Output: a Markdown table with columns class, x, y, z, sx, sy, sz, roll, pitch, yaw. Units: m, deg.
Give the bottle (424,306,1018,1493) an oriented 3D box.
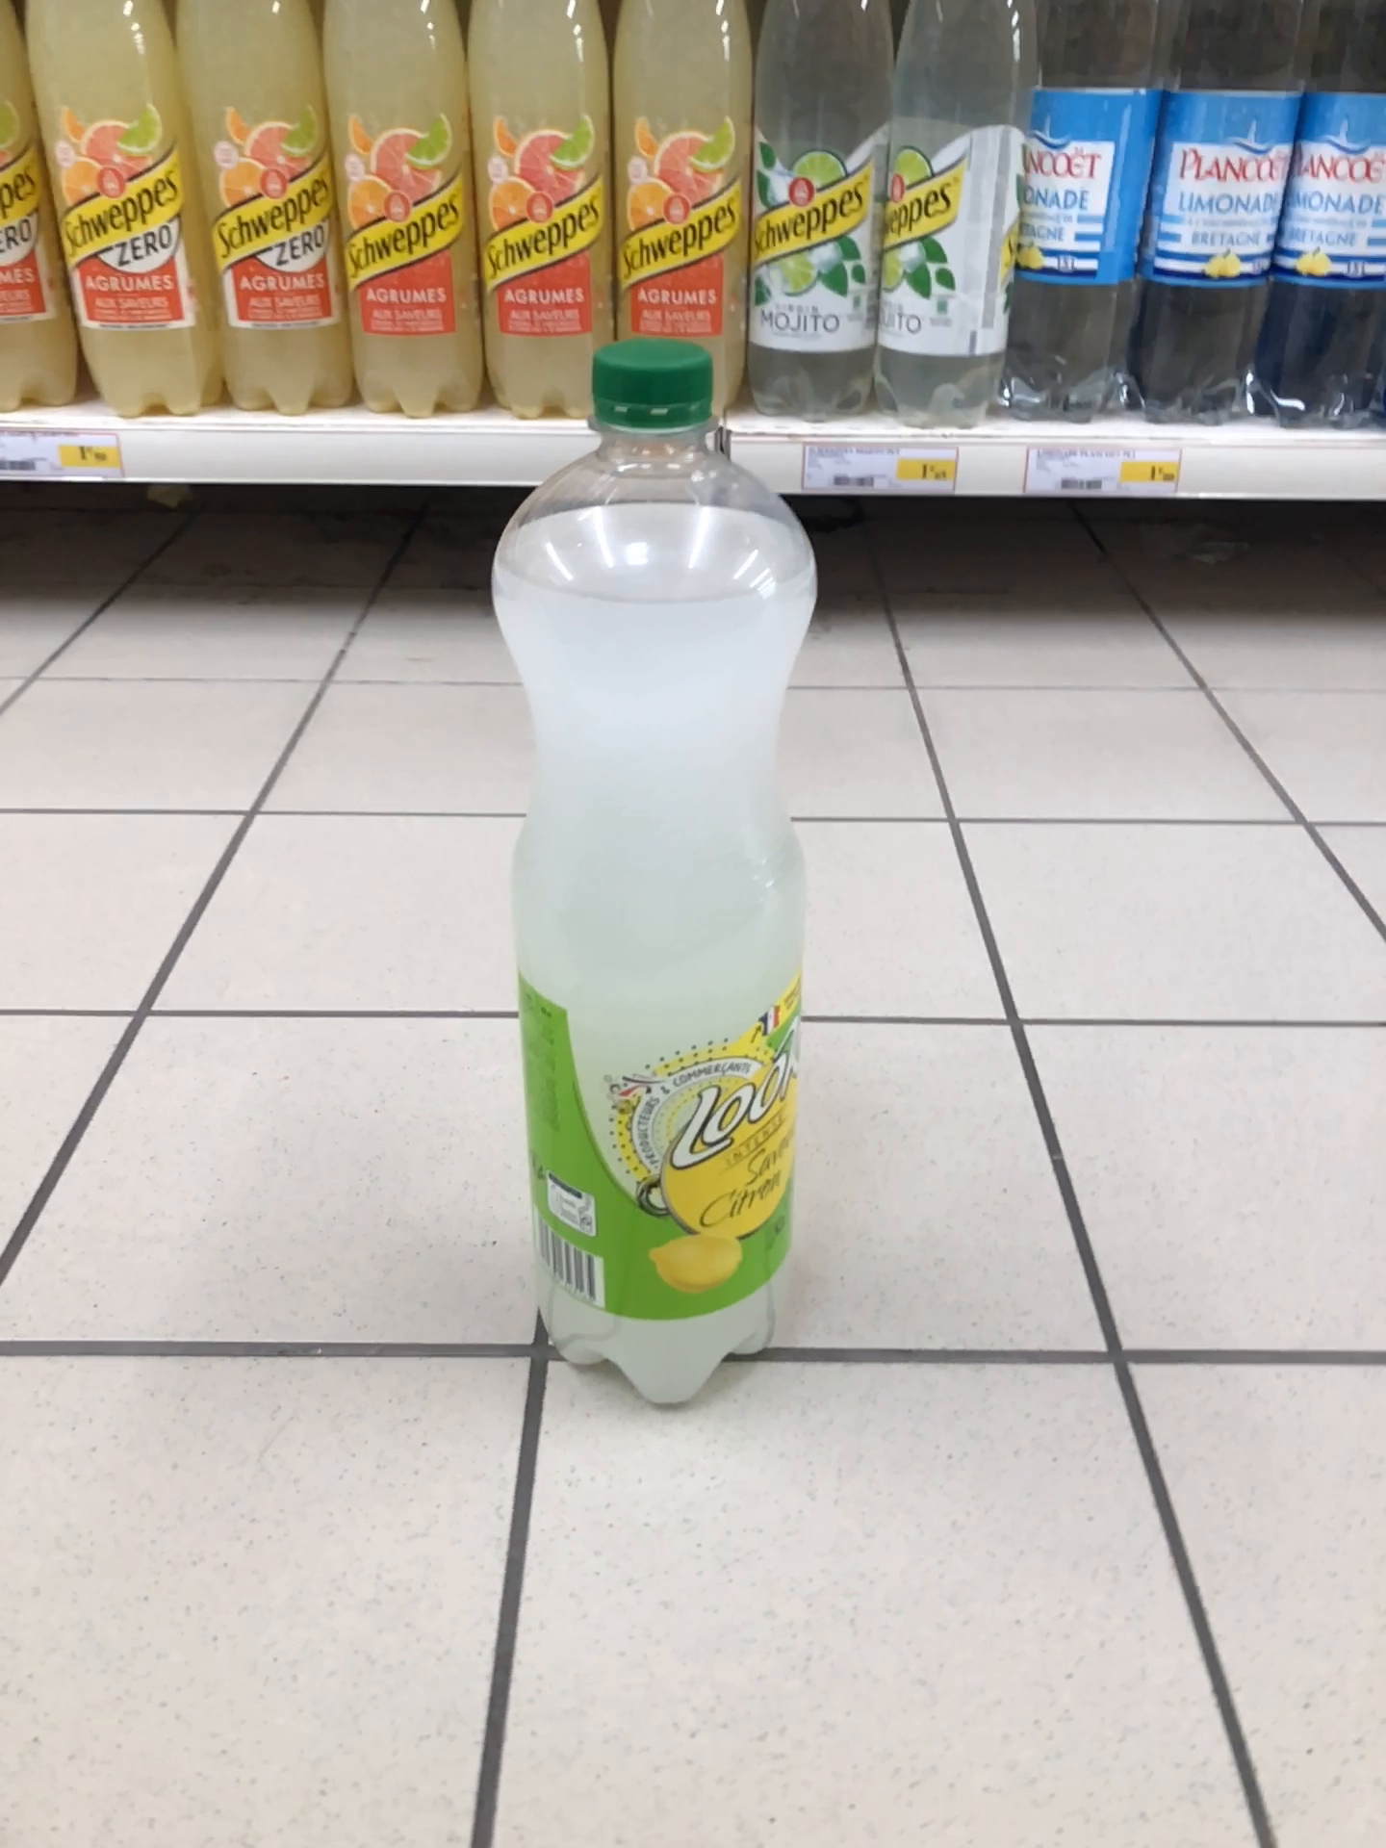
| class | x | y | z | sx | sy | sz | roll | pitch | yaw |
| --- | --- | --- | --- | --- | --- | --- | --- | --- | --- |
| bottle | 0.003 | -0.001 | 0.433 | 0.100 | 0.308 | 0.100 | 0 | 30 | 0 |
